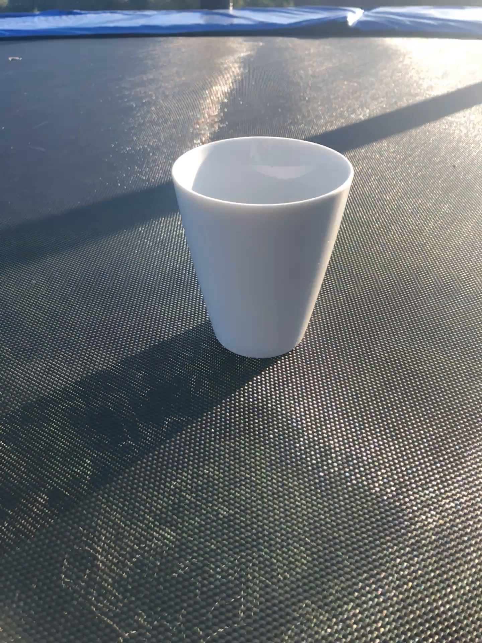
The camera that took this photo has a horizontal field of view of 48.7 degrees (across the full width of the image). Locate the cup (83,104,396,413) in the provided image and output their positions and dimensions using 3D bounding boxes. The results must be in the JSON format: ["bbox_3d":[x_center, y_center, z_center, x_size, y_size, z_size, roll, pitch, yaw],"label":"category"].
[{"bbox_3d":[0.008,-0.044,0.283,0.097,0.094,0.130,19,42,25],"label":"cup"}]
